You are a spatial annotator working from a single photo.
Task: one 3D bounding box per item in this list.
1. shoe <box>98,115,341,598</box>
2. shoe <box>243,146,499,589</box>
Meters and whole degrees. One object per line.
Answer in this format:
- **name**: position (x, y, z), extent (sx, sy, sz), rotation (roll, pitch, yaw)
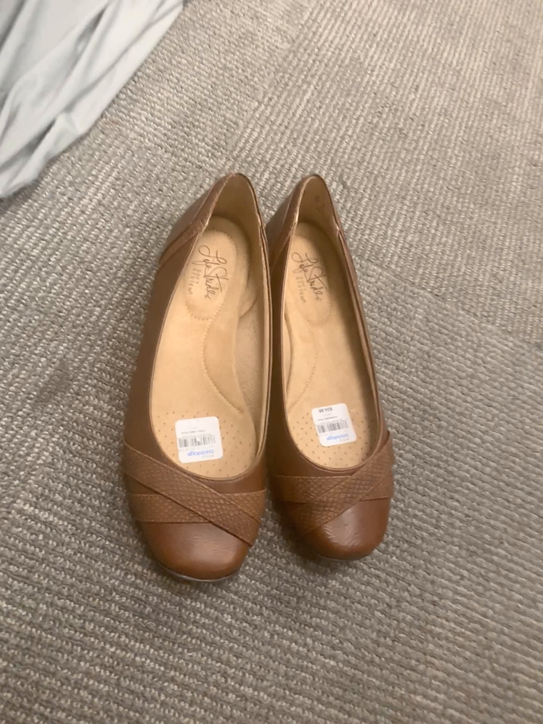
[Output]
- **shoe**: position (-0.027, -0.006, 0.344), extent (0.099, 0.084, 0.270), rotation (12, 67, -14)
- **shoe**: position (0.052, 0.000, 0.373), extent (0.099, 0.084, 0.271), rotation (0, 70, -18)
